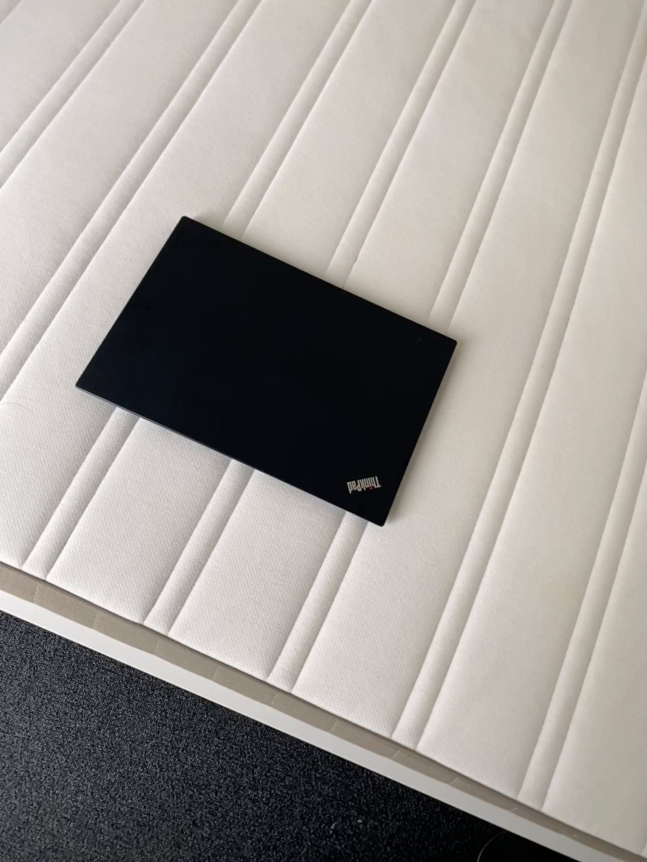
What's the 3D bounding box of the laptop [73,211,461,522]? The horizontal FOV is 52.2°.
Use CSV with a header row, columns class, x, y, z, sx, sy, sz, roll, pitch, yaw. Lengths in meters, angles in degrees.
class,x,y,z,sx,sy,sz,roll,pitch,yaw
laptop,-0.045,-0.075,0.672,0.325,0.012,0.226,24,67,0
